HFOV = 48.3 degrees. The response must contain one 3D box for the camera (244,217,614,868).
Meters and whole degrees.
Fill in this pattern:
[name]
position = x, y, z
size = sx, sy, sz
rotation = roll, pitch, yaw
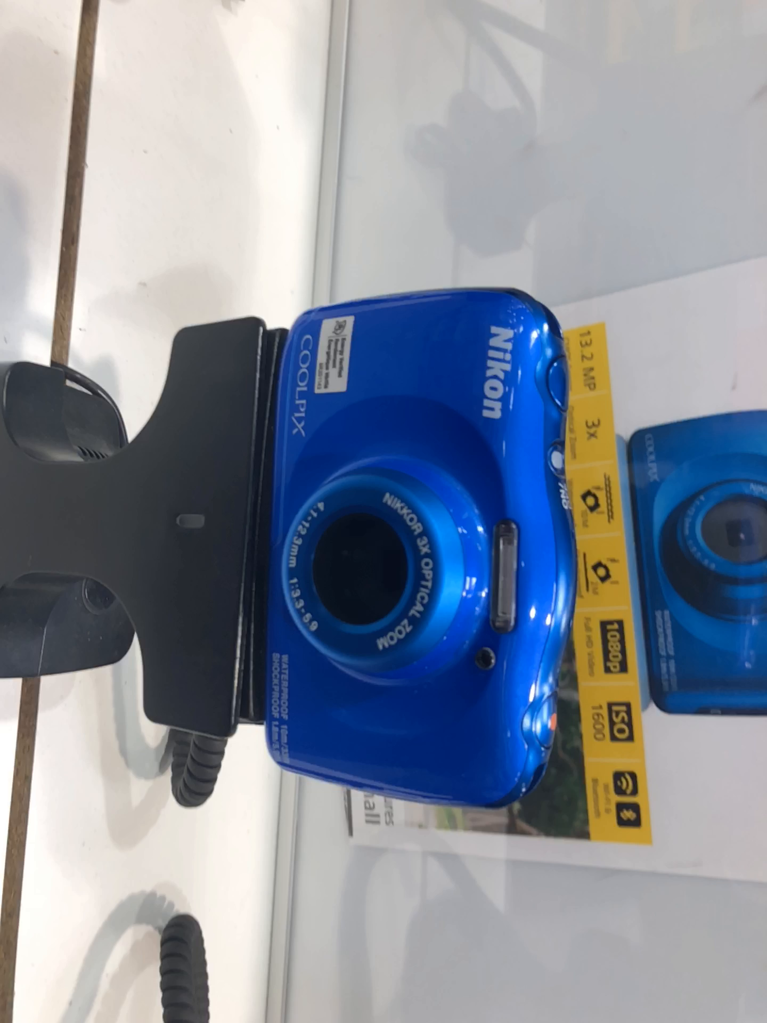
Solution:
[camera]
position = 0.013, 0.006, 0.209
size = 0.050, 0.070, 0.130
rotation = 10, 82, -60
